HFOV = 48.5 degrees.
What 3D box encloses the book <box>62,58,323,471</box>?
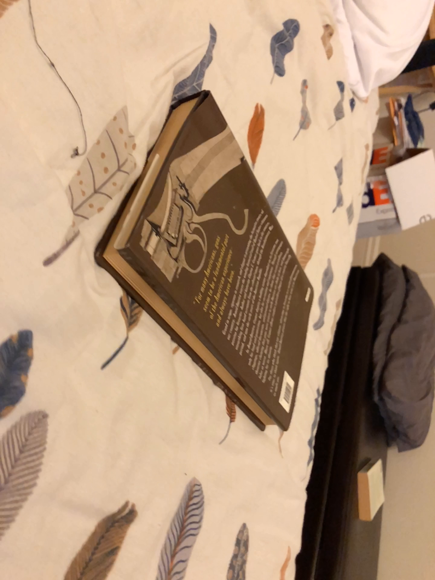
[{"bbox_3d":[0.015,-0.005,0.349,0.241,0.030,0.181,56,41,-41],"label":"book"}]
